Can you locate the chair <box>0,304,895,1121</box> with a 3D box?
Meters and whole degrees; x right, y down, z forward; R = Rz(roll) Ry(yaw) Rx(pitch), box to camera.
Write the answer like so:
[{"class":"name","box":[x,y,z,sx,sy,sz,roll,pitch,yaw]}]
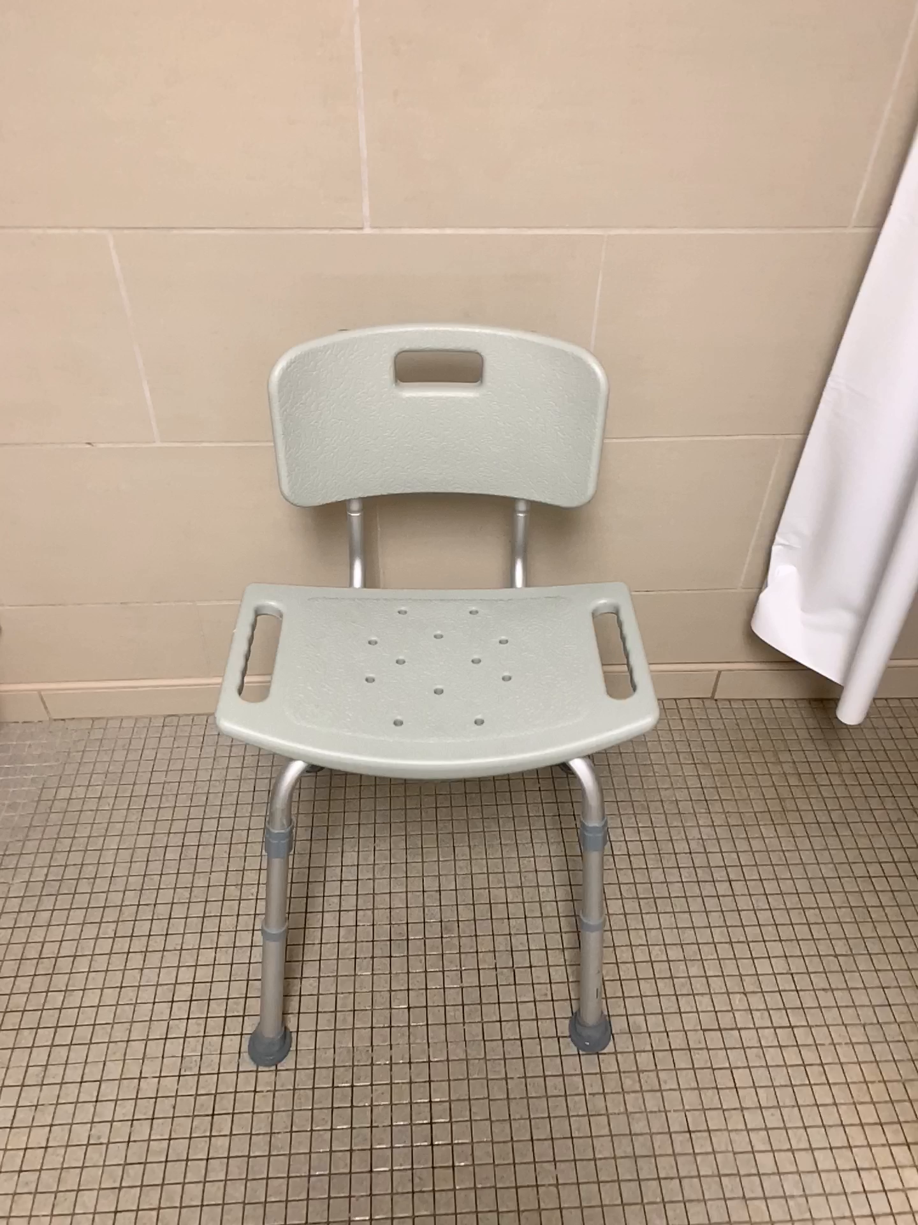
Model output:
[{"class":"chair","box":[-0.010,0.147,1.017,0.549,0.745,0.524,-2,46,-1]}]
